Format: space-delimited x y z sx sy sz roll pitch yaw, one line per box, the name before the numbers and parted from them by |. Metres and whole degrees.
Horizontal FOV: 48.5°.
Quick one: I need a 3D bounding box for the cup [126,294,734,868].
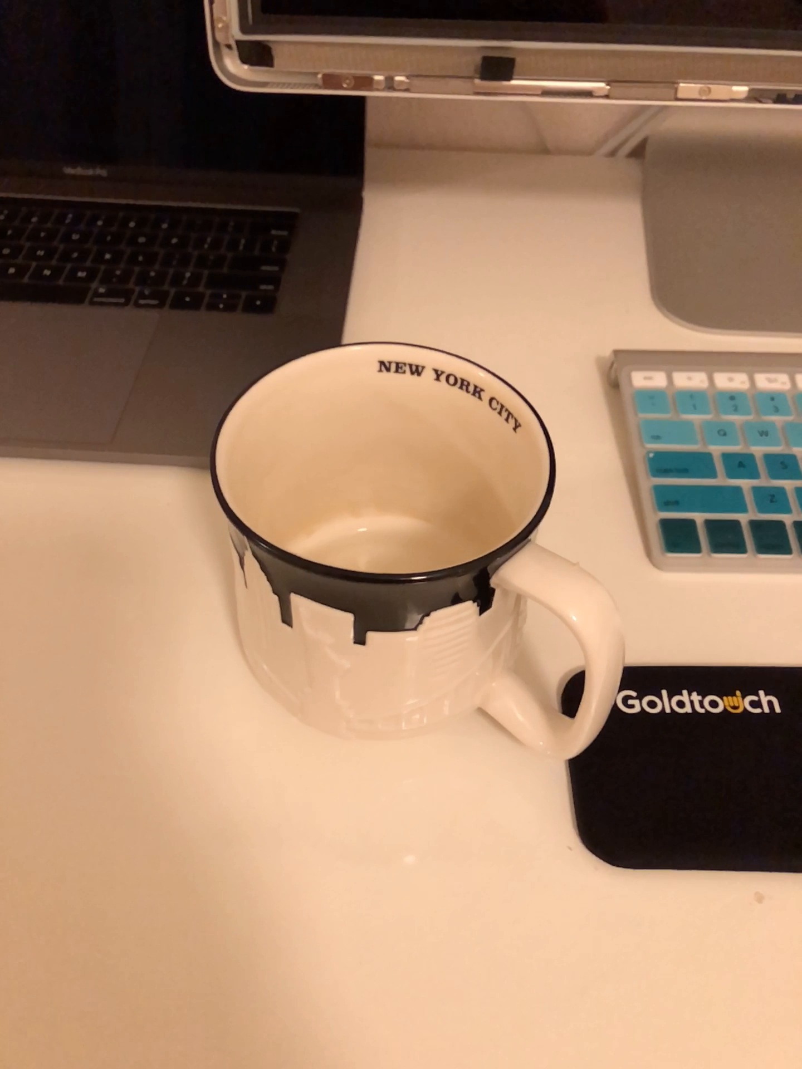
cup | 0.010 0.009 0.292 0.140 0.090 0.110 25 53 18
